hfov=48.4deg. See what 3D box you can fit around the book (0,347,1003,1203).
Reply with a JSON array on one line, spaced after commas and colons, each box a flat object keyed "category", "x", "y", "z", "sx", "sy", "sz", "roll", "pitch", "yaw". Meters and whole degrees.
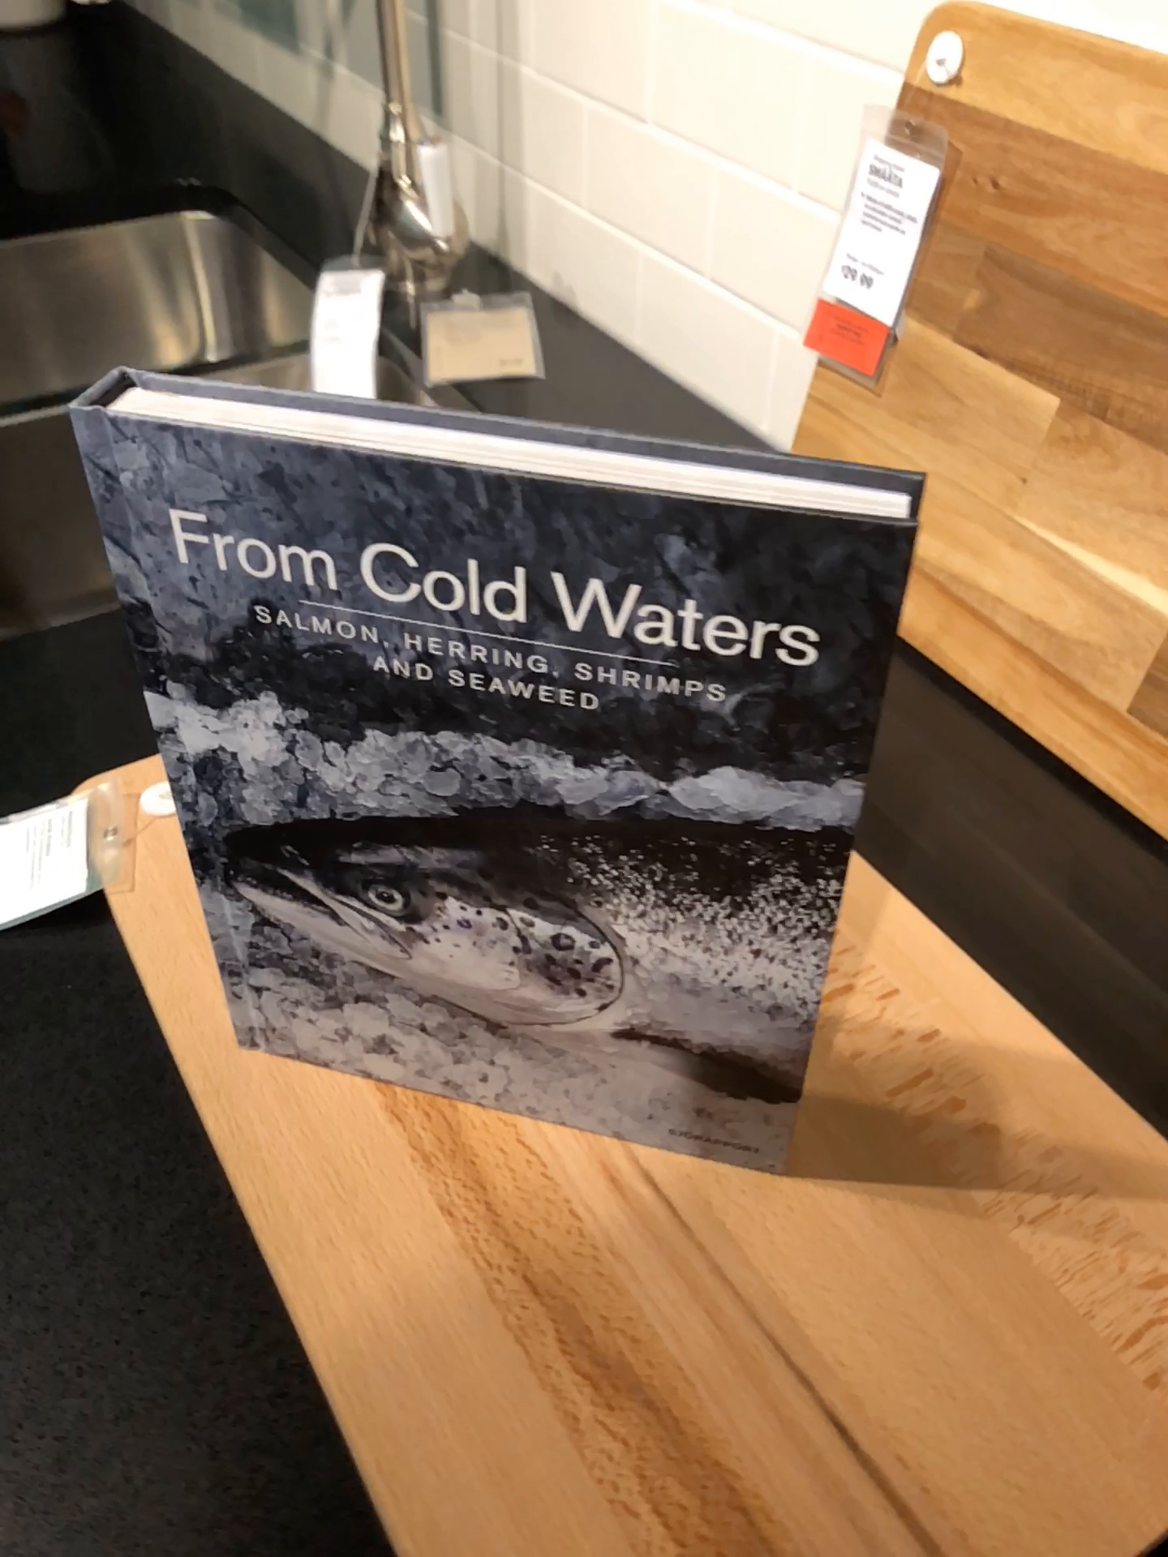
[{"category": "book", "x": -0.025, "y": 0.012, "z": 0.339, "sx": 0.213, "sy": 0.219, "sz": 0.029, "roll": 11, "pitch": 41, "yaw": 11}]
